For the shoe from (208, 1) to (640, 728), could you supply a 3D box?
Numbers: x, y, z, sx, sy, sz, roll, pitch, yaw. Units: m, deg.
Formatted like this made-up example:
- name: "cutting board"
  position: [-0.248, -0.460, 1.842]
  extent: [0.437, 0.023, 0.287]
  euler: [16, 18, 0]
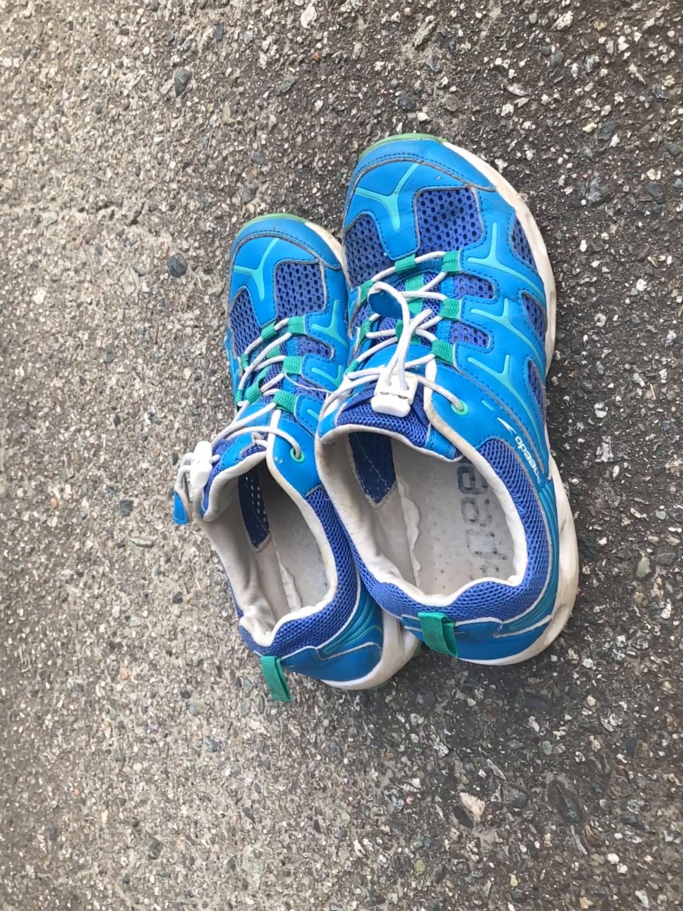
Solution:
- name: "shoe"
  position: [0.033, -0.027, 0.316]
  extent: [0.100, 0.090, 0.250]
  euler: [-15, 83, 35]

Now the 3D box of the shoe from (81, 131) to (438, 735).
- name: "shoe"
  position: [-0.043, -0.006, 0.381]
  extent: [0.100, 0.090, 0.260]
  euler: [-15, 83, 35]
